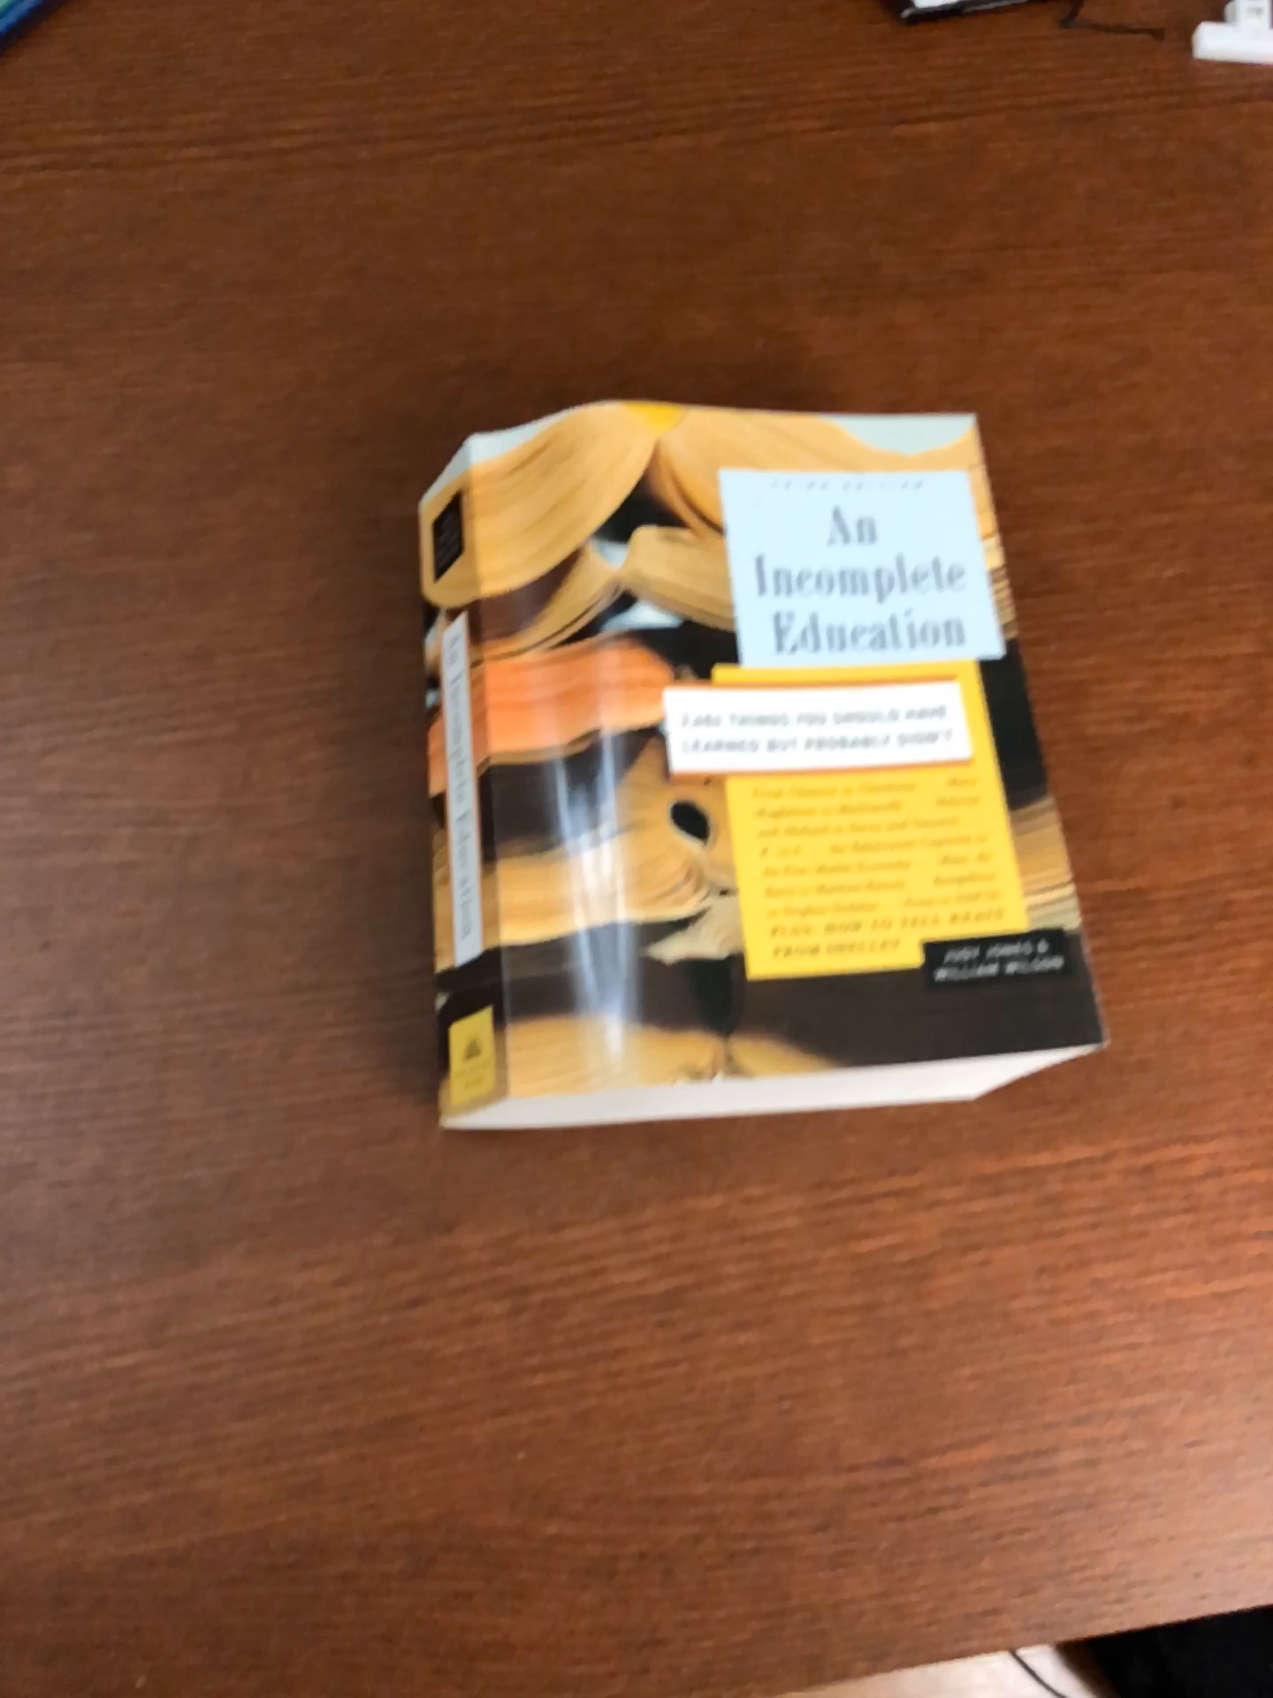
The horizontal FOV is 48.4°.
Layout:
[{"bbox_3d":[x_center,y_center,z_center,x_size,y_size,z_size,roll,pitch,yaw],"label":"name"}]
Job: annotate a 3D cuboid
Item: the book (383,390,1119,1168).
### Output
[{"bbox_3d":[0.029,-0.031,0.489,0.210,0.060,0.251,-3,71,-14],"label":"book"}]
